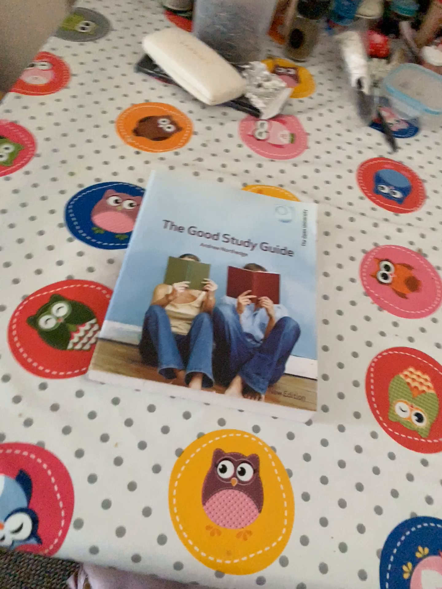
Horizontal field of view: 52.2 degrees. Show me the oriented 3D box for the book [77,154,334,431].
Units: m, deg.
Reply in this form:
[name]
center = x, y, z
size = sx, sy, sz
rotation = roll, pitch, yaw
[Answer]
[book]
center = 0.005, -0.018, 0.445
size = 0.210, 0.030, 0.262
rotation = 12, 56, -4
